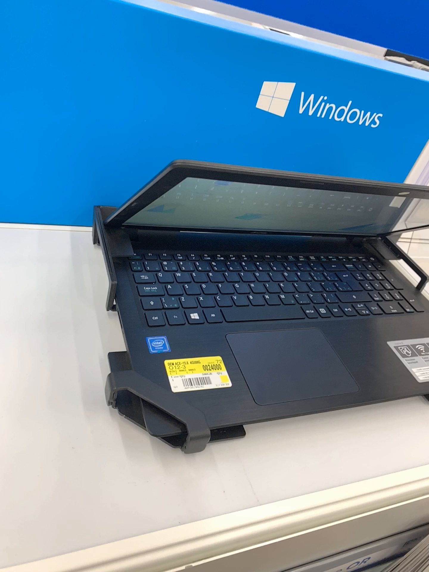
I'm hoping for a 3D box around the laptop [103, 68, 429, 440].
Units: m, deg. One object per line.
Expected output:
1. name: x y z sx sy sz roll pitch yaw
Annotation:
1. laptop: 0.103 -0.040 0.379 0.344 0.147 0.227 -1 41 -25
